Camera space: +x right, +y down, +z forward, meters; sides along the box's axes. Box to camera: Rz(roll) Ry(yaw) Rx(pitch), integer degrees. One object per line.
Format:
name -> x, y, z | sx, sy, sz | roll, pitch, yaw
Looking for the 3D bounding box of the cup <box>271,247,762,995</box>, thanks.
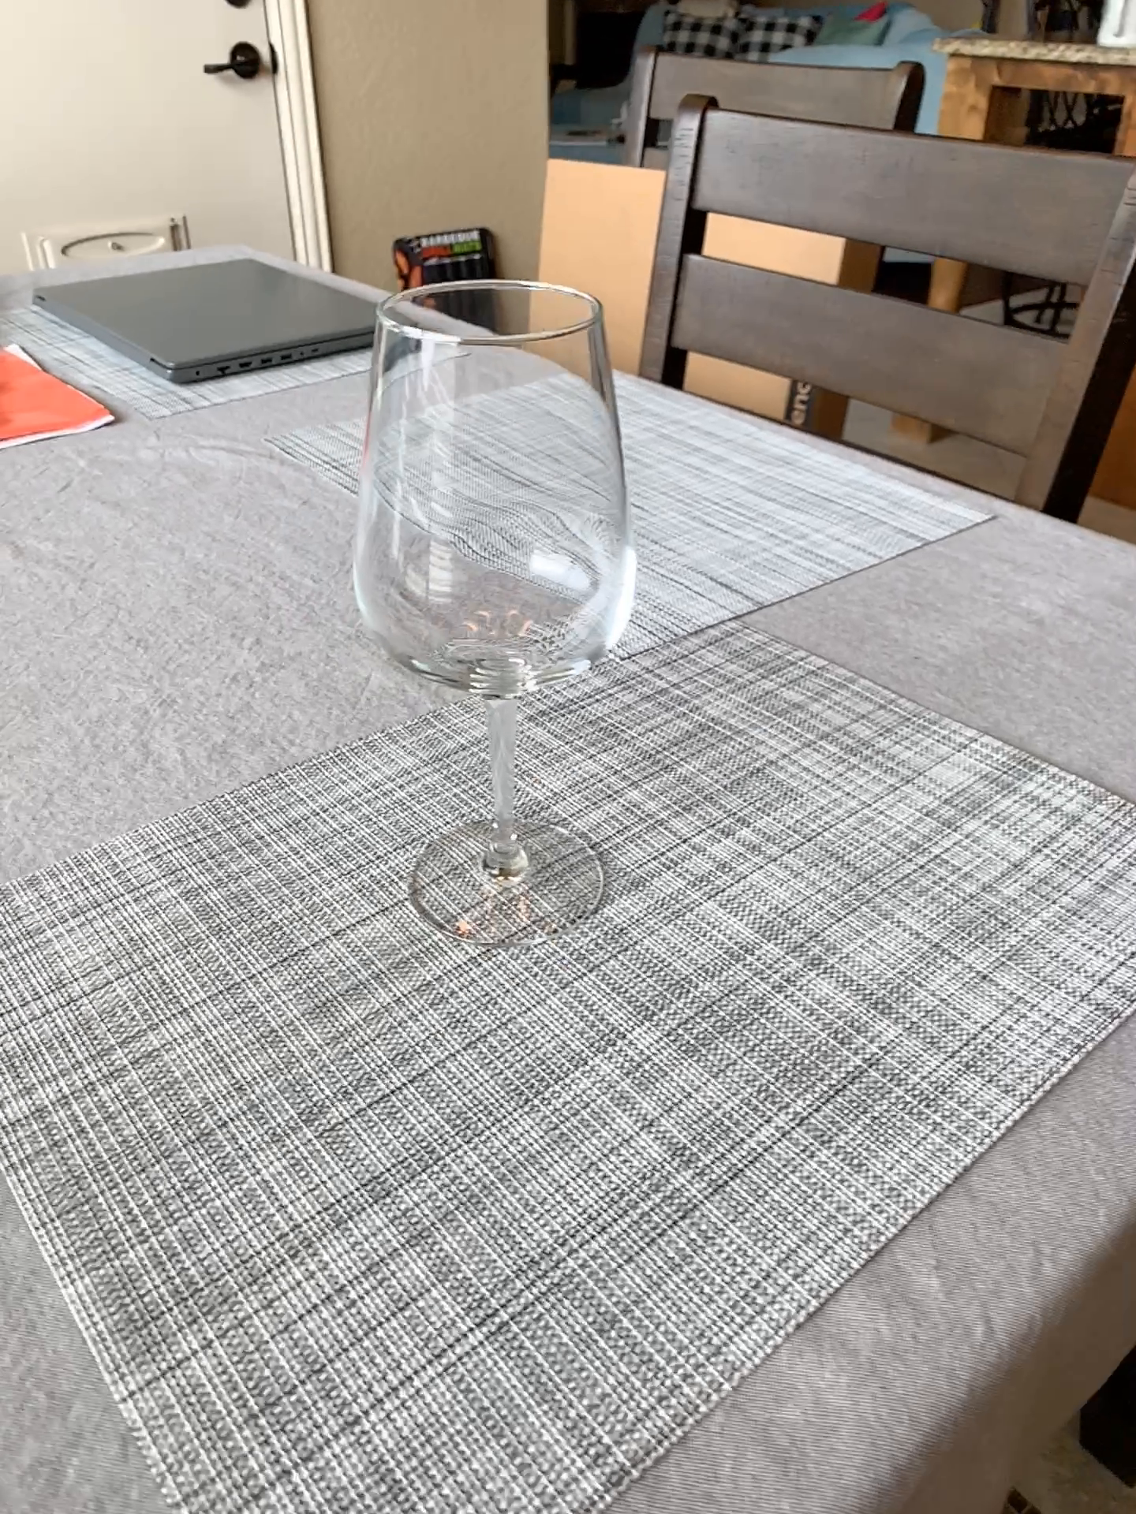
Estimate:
cup -> -0.018, -0.047, 0.403 | 0.107, 0.214, 0.100 | 0, 33, 0
